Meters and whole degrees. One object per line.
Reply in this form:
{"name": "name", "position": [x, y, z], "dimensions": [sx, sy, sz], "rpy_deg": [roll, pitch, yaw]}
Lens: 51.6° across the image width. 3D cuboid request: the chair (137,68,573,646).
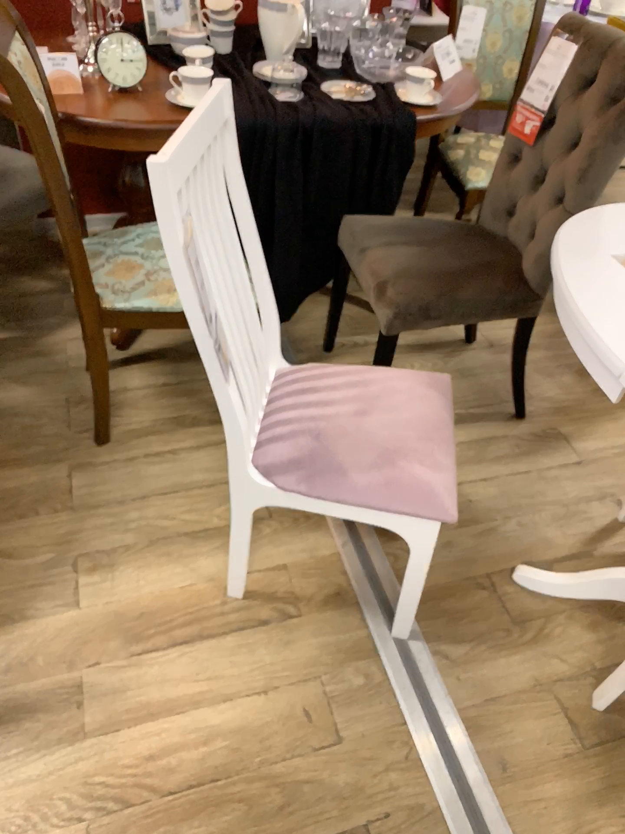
{"name": "chair", "position": [0.036, -0.043, 1.267], "dimensions": [0.520, 1.003, 0.442], "rpy_deg": [8, 43, 2]}
